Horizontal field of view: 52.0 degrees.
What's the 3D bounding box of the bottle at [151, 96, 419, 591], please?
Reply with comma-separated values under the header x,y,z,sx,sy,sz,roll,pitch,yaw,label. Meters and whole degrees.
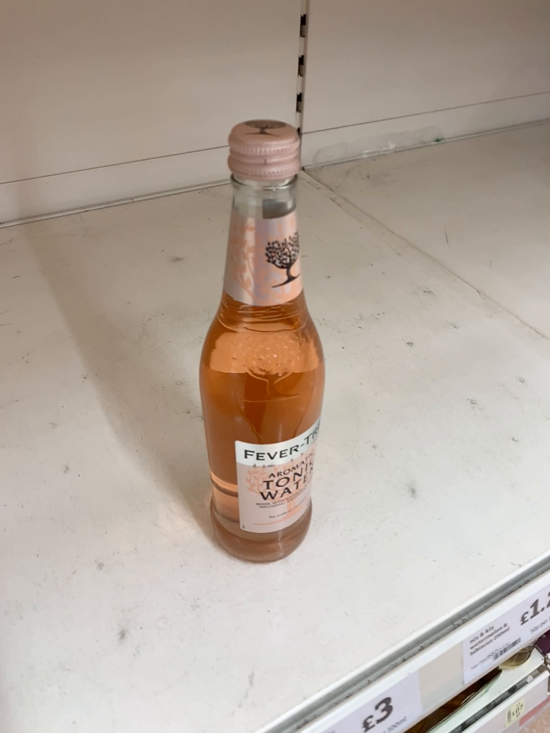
x,y,z,sx,sy,sz,roll,pitch,yaw,label
0.000,0.007,0.297,0.078,0.254,0.067,-23,47,-27,bottle
